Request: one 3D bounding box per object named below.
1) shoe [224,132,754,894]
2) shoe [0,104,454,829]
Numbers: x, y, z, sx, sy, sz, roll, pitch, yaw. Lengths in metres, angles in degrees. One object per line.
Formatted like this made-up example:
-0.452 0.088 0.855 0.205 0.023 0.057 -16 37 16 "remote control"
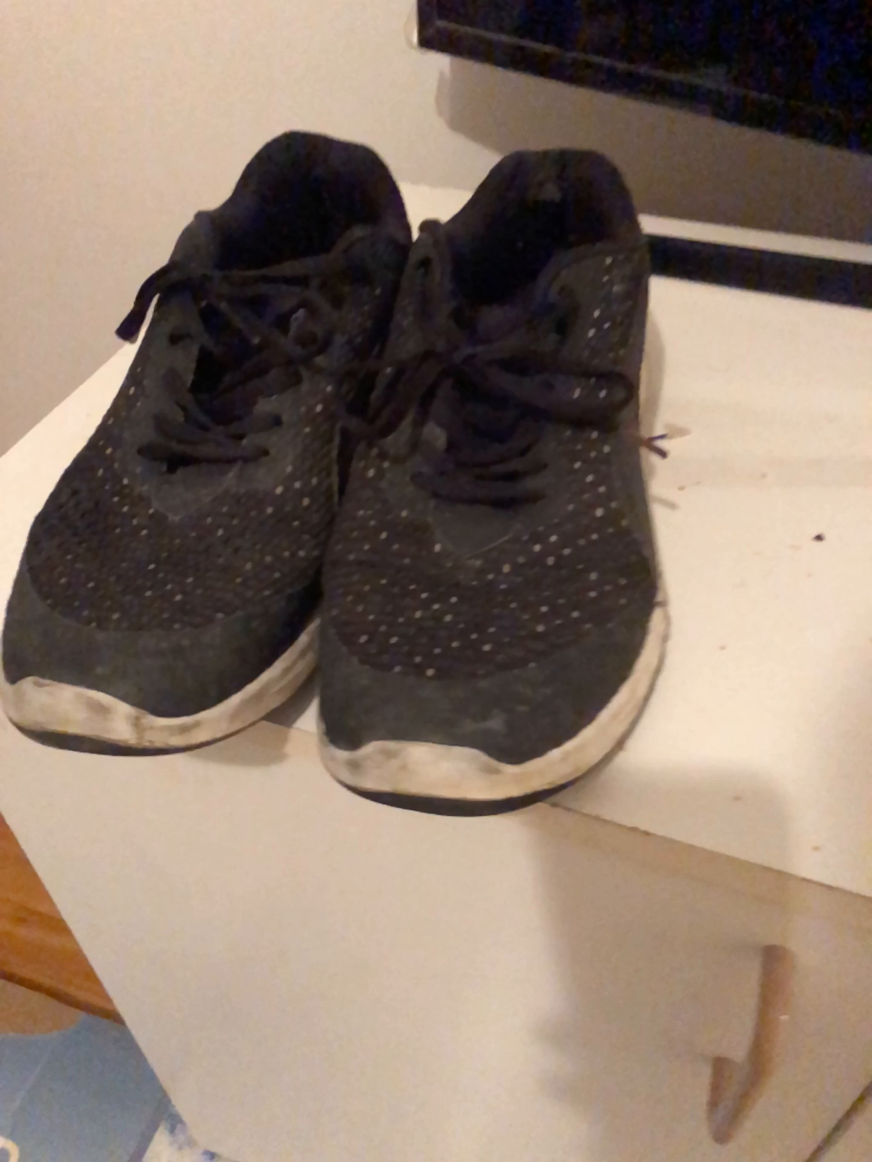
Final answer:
0.038 -0.059 0.361 0.120 0.099 0.311 7 44 8 "shoe"
-0.078 -0.076 0.368 0.120 0.099 0.311 7 44 8 "shoe"
